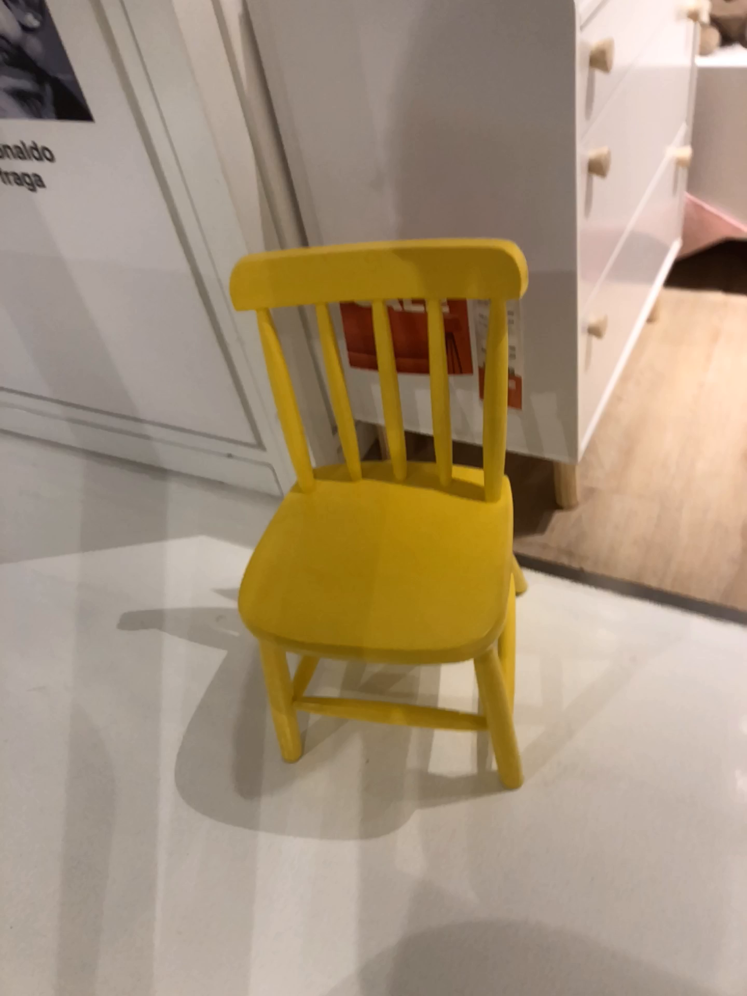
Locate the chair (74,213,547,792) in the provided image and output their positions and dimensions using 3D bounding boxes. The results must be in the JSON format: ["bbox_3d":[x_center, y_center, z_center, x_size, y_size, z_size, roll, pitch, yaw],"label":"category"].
[{"bbox_3d":[0.005,0.031,0.995,0.380,0.575,0.373,0,46,14],"label":"chair"}]
